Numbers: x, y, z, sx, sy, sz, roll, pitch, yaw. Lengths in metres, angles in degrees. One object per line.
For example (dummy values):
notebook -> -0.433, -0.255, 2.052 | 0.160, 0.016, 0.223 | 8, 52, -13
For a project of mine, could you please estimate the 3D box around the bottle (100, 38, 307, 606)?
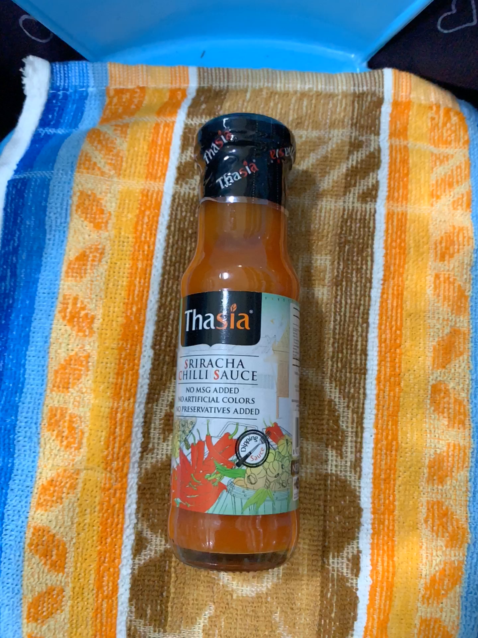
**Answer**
bottle -> -0.006, -0.004, 0.185 | 0.050, 0.050, 0.180 | -1, 76, 17
